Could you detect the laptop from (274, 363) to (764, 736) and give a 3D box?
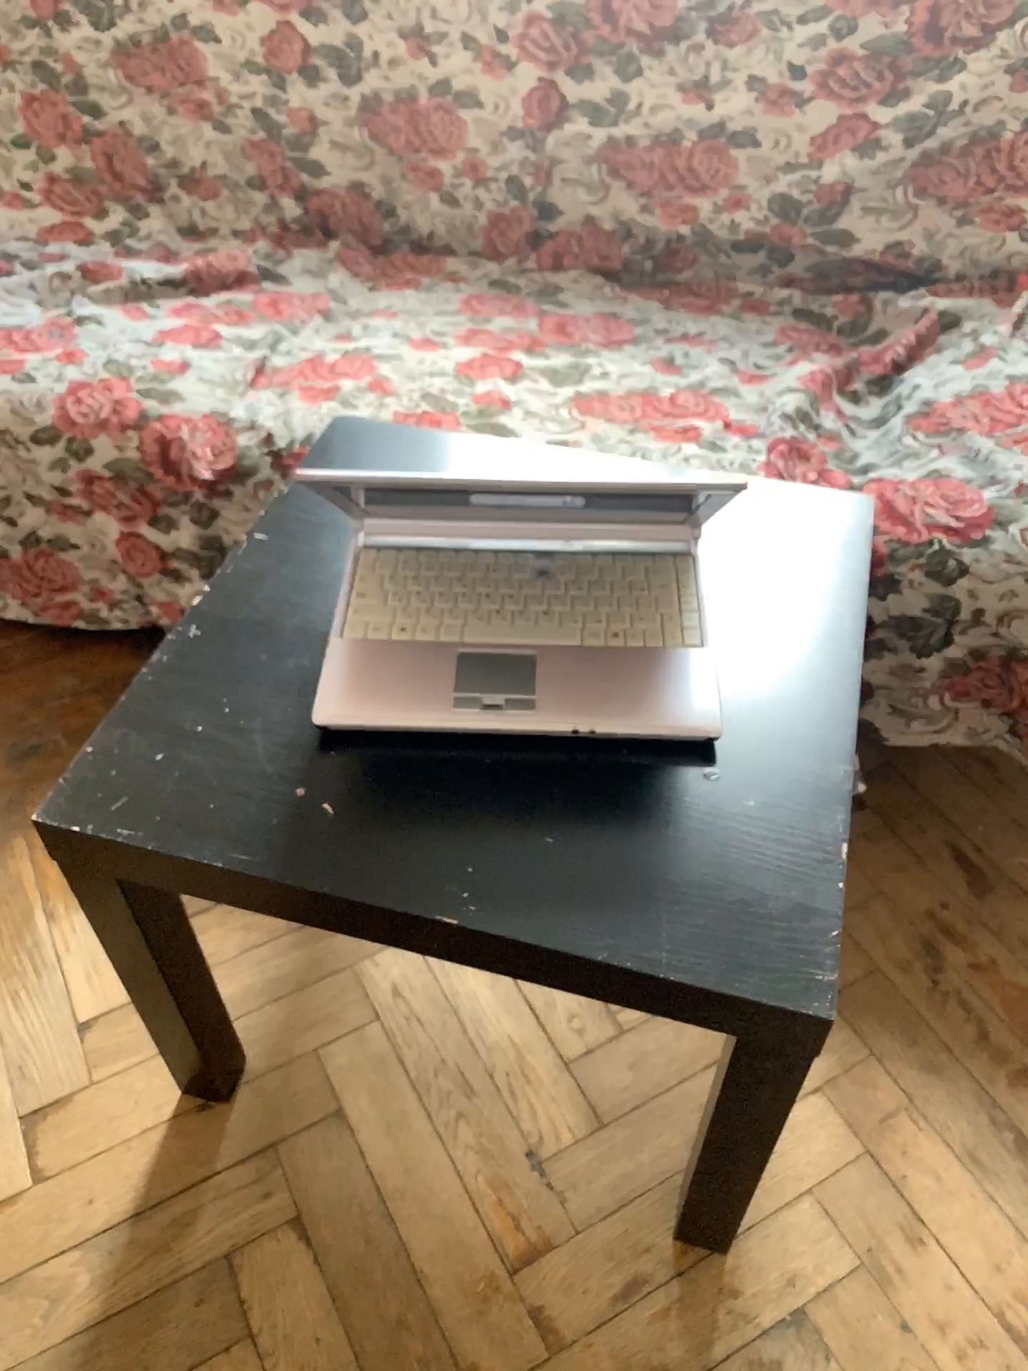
[{"bbox_3d":[0.006,-0.106,0.790,0.305,0.156,0.227,2,47,2],"label":"laptop"}]
